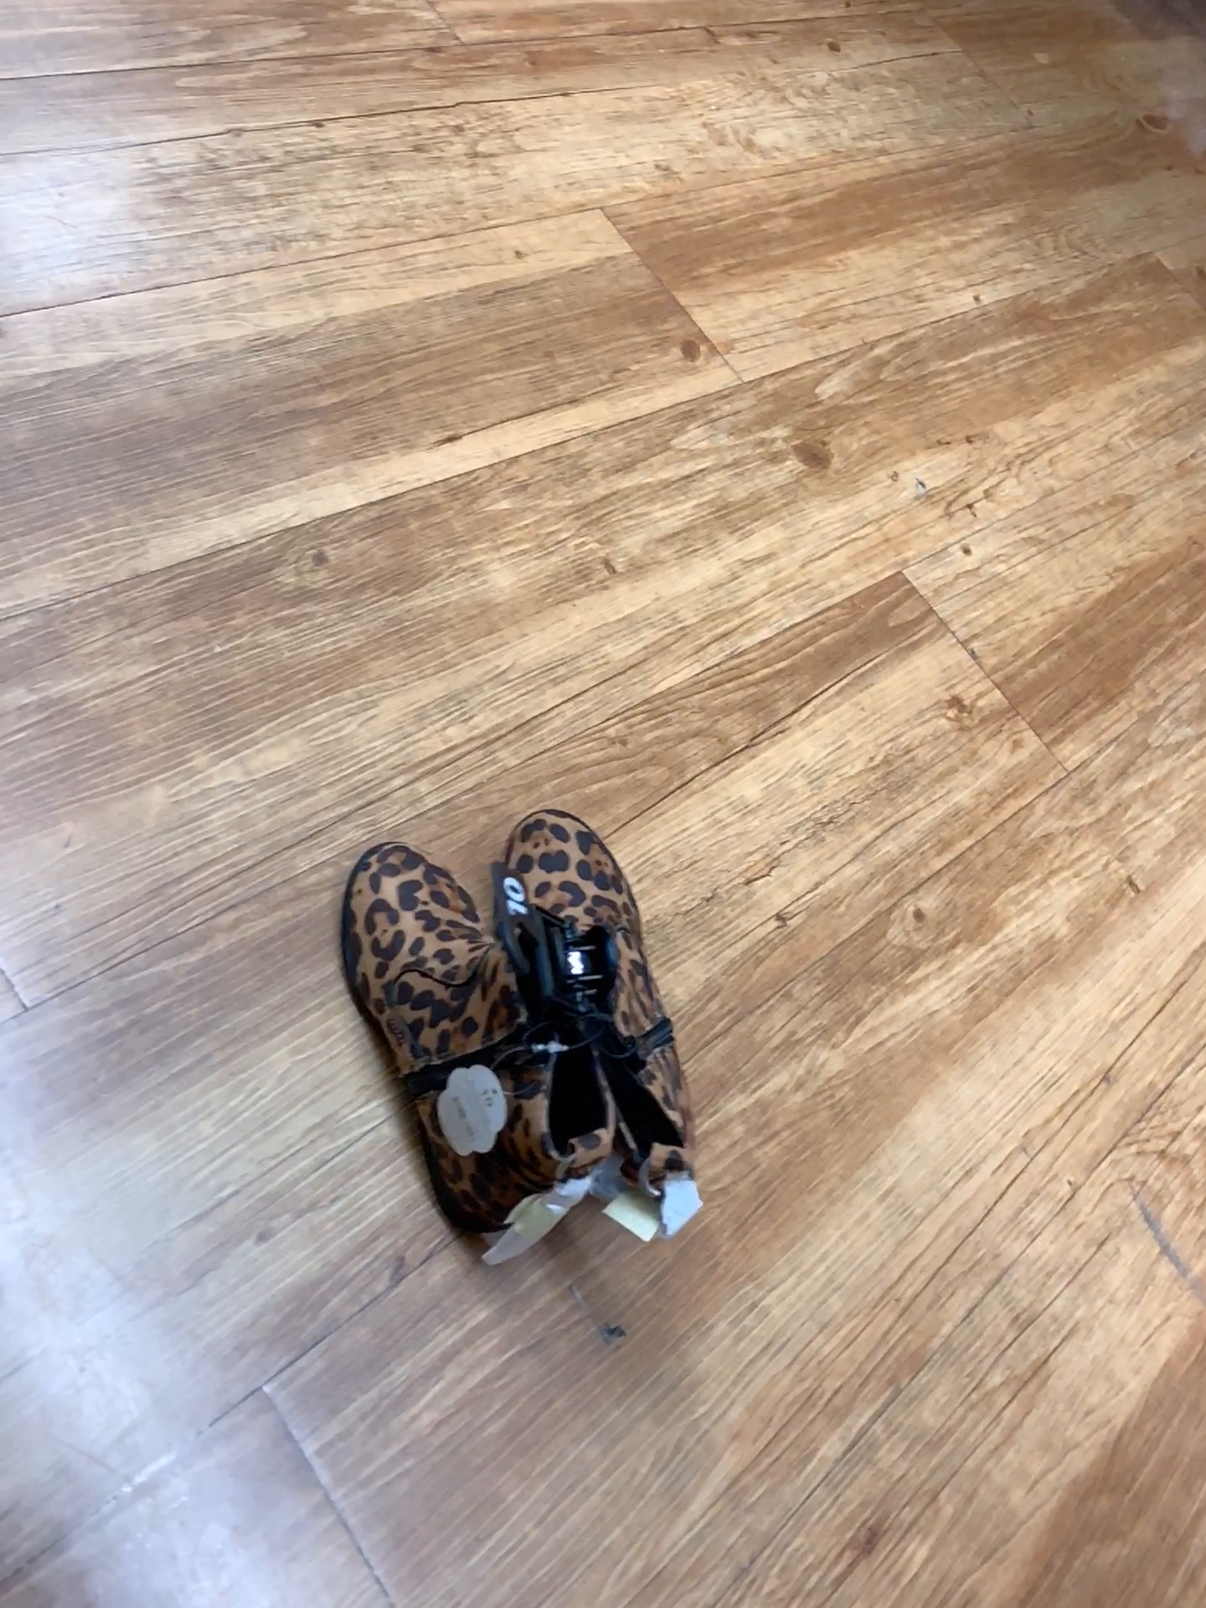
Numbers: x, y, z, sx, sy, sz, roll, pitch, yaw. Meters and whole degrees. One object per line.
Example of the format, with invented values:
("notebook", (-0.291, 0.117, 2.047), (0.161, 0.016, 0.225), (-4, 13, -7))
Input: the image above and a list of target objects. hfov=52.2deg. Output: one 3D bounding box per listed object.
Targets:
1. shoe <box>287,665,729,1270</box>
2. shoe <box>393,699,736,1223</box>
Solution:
("shoe", (-0.047, 0.064, 0.475), (0.070, 0.120, 0.190), (-15, 69, -30))
("shoe", (-0.012, 0.070, 0.507), (0.070, 0.120, 0.180), (-21, 70, -1))
